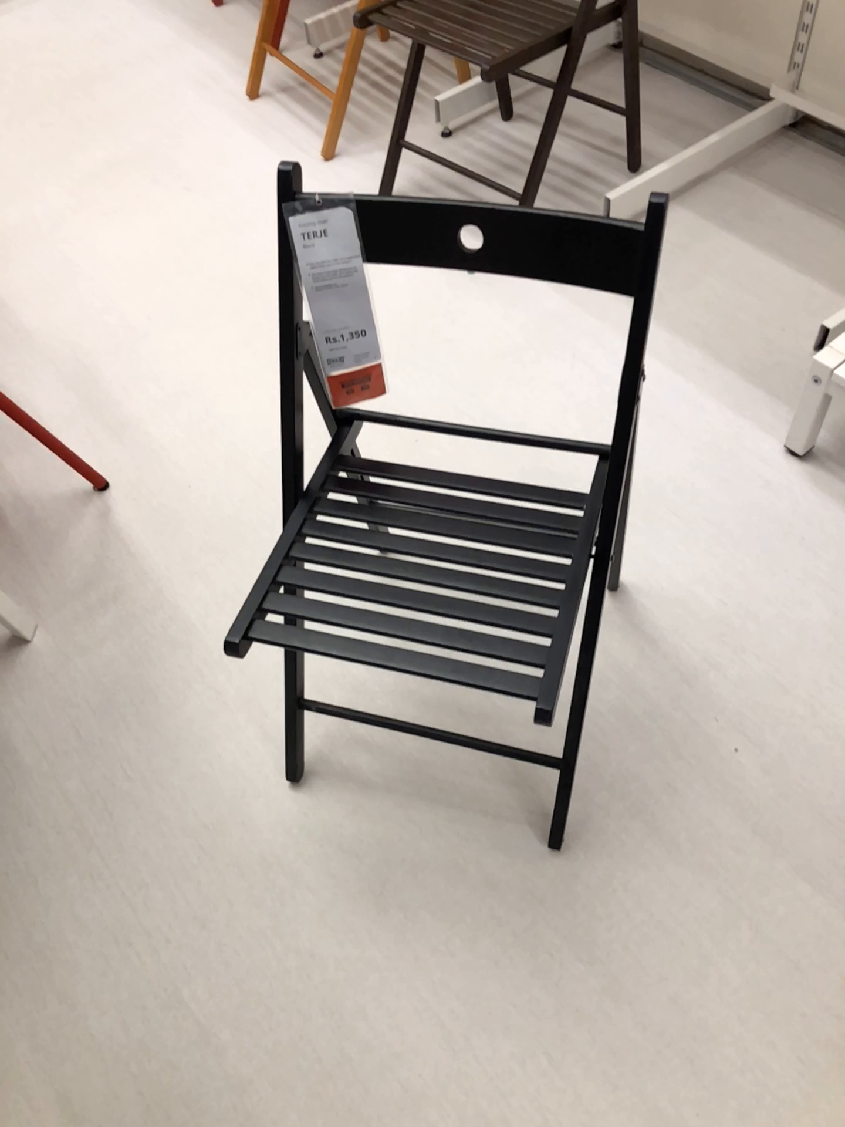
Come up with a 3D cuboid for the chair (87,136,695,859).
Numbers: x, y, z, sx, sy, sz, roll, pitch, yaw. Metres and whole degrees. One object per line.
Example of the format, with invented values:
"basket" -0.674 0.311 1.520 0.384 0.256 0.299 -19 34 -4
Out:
"chair" 0.029 -0.037 1.150 0.440 0.726 0.482 11 57 14
